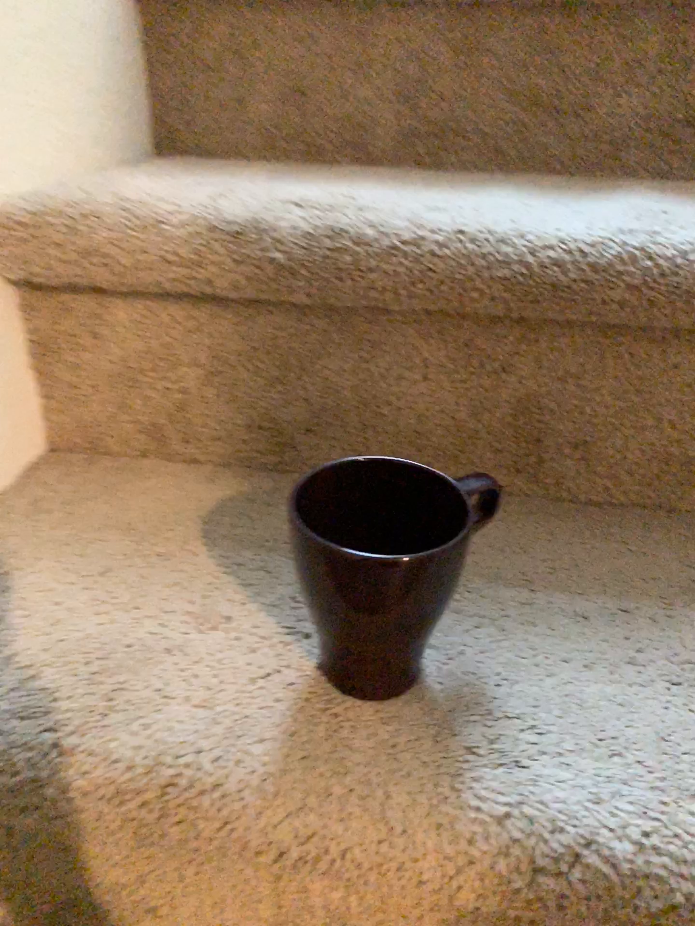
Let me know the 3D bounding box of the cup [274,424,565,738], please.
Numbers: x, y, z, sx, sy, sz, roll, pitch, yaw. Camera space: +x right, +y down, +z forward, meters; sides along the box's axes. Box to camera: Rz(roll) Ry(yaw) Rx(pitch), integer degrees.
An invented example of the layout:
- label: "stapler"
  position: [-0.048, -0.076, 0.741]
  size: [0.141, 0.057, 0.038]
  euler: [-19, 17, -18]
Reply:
- label: "cup"
  position: [0.032, 0.052, 0.359]
  size: [0.110, 0.099, 0.080]
  euler: [-15, 32, -27]
